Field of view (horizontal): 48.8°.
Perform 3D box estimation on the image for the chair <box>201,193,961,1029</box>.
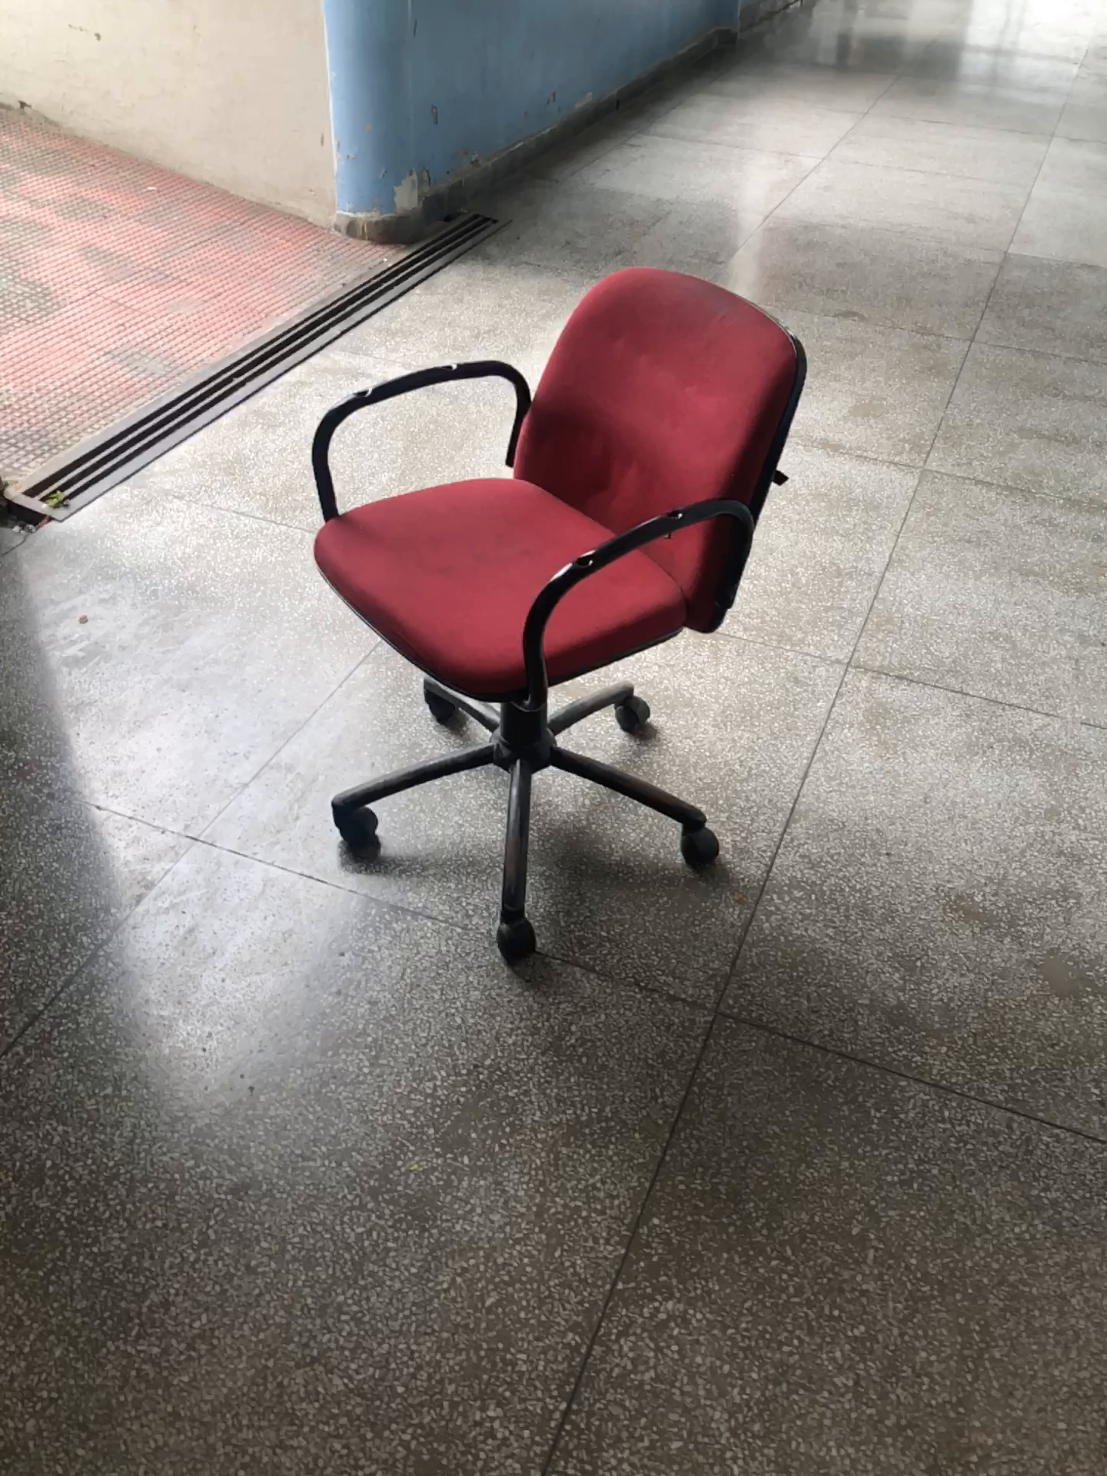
[{"bbox_3d":[0.010,-0.213,1.707,0.641,0.797,0.651,-26,47,-31],"label":"chair"}]
